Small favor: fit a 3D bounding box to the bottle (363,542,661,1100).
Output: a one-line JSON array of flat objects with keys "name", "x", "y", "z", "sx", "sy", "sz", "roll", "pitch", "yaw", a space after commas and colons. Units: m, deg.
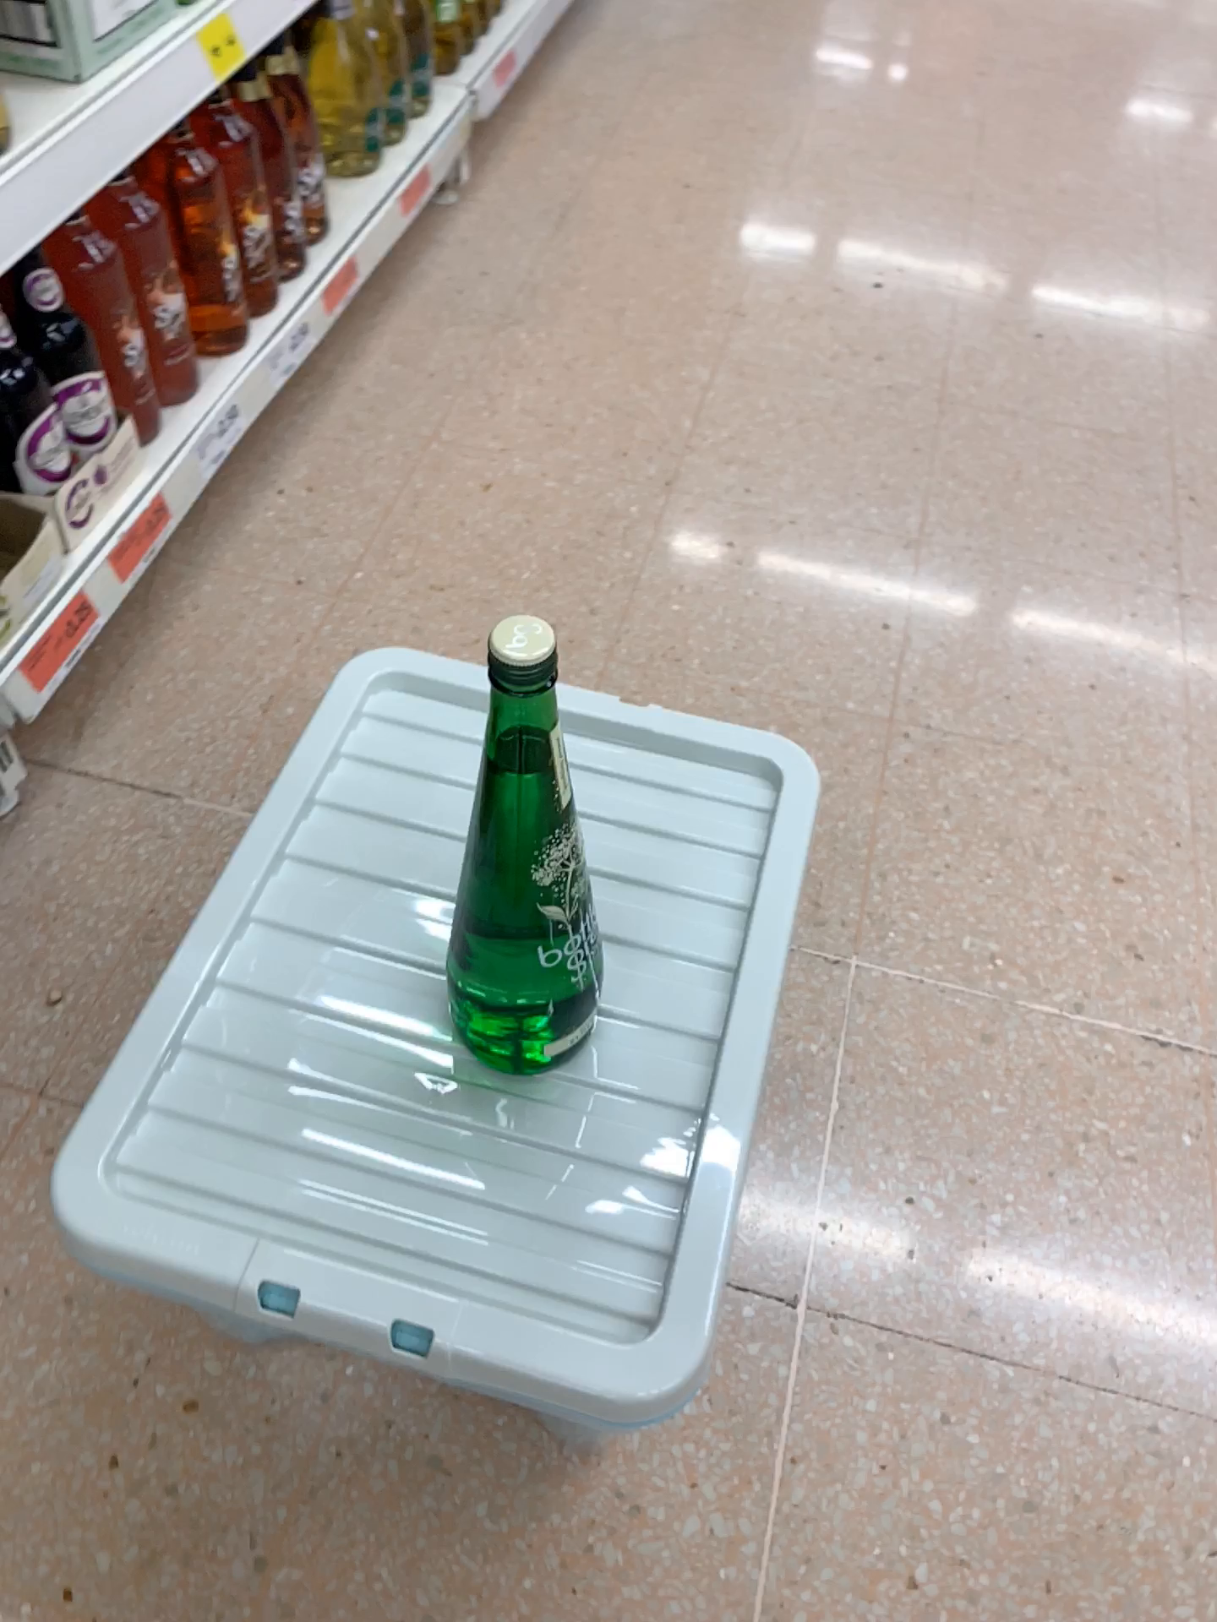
[{"name": "bottle", "x": -0.046, "y": 0.023, "z": 0.616, "sx": 0.093, "sy": 0.298, "sz": 0.085, "roll": 2, "pitch": 51, "yaw": -3}]
